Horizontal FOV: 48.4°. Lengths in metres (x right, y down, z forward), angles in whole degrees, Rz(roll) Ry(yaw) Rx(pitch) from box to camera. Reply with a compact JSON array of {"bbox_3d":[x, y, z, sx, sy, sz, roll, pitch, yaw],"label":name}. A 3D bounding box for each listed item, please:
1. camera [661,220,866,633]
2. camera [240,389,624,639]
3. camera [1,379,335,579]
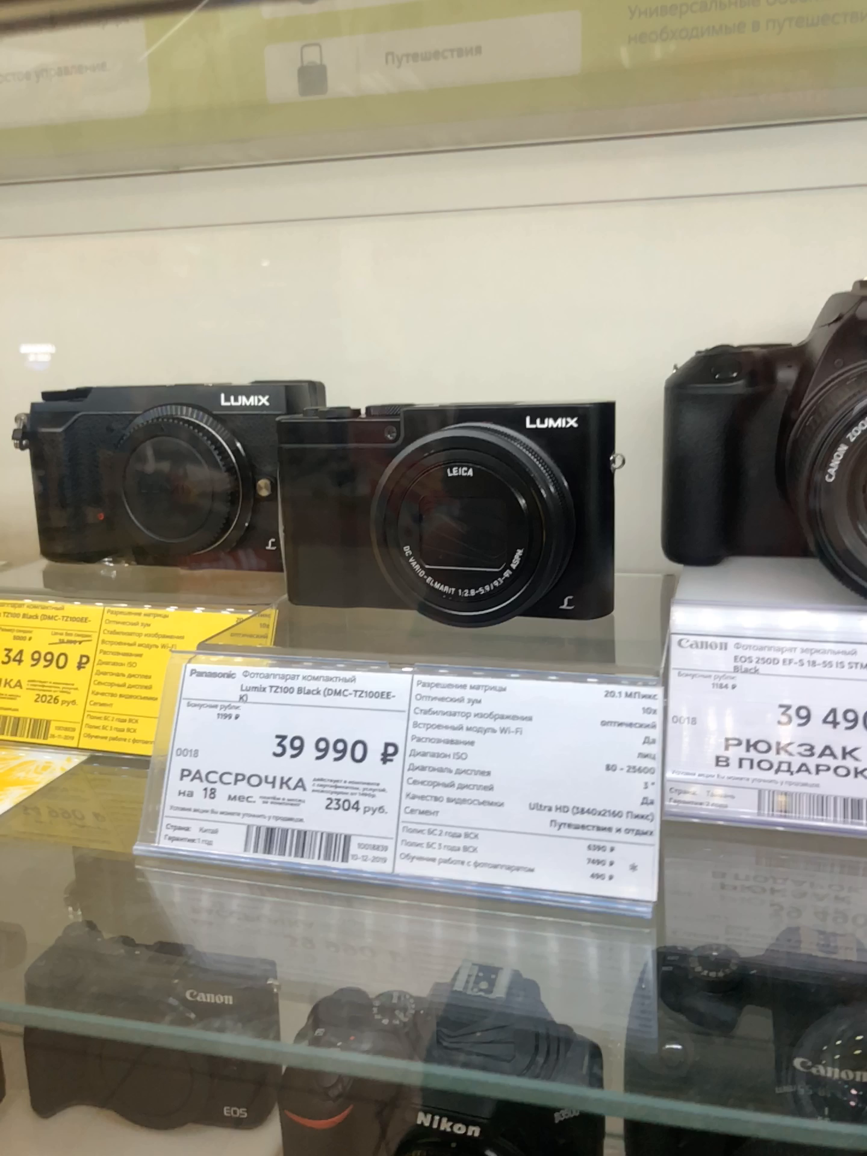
[{"bbox_3d":[0.165,-0.058,0.330,0.157,0.099,0.164,2,15,16],"label":"camera"},{"bbox_3d":[0.001,-0.022,0.301,0.111,0.068,0.038,2,13,16],"label":"camera"},{"bbox_3d":[-0.101,-0.041,0.377,0.108,0.068,0.055,2,13,16],"label":"camera"}]
